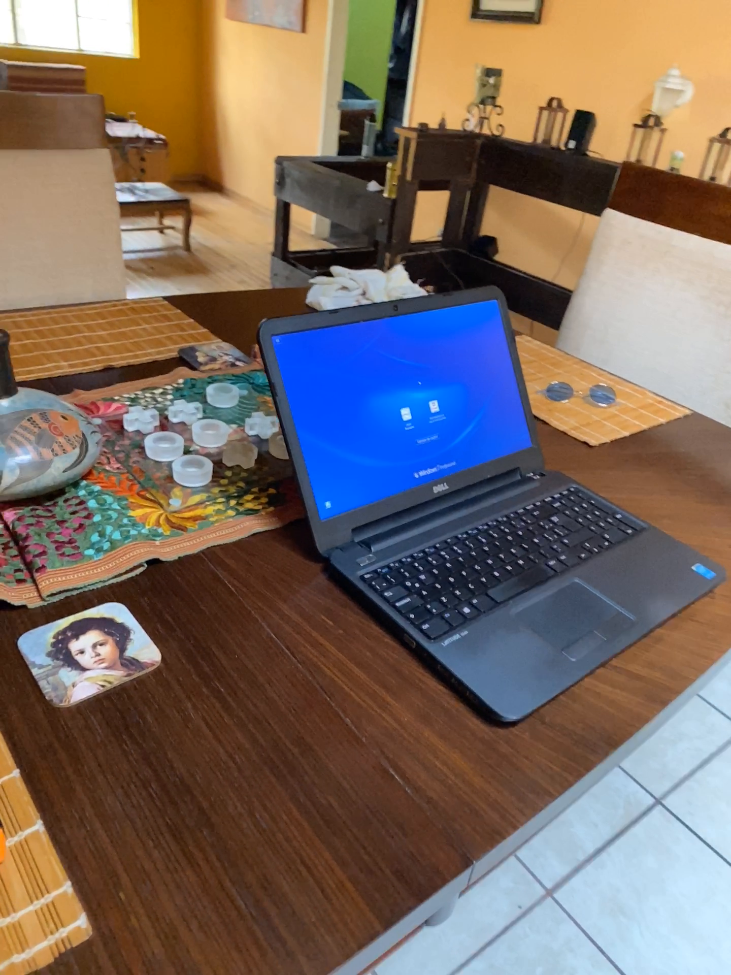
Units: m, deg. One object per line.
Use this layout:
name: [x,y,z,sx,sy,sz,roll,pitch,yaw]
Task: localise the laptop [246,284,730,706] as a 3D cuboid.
laptop: [0.140,-0.043,0.794,0.368,0.194,0.396,-18,40,-37]
